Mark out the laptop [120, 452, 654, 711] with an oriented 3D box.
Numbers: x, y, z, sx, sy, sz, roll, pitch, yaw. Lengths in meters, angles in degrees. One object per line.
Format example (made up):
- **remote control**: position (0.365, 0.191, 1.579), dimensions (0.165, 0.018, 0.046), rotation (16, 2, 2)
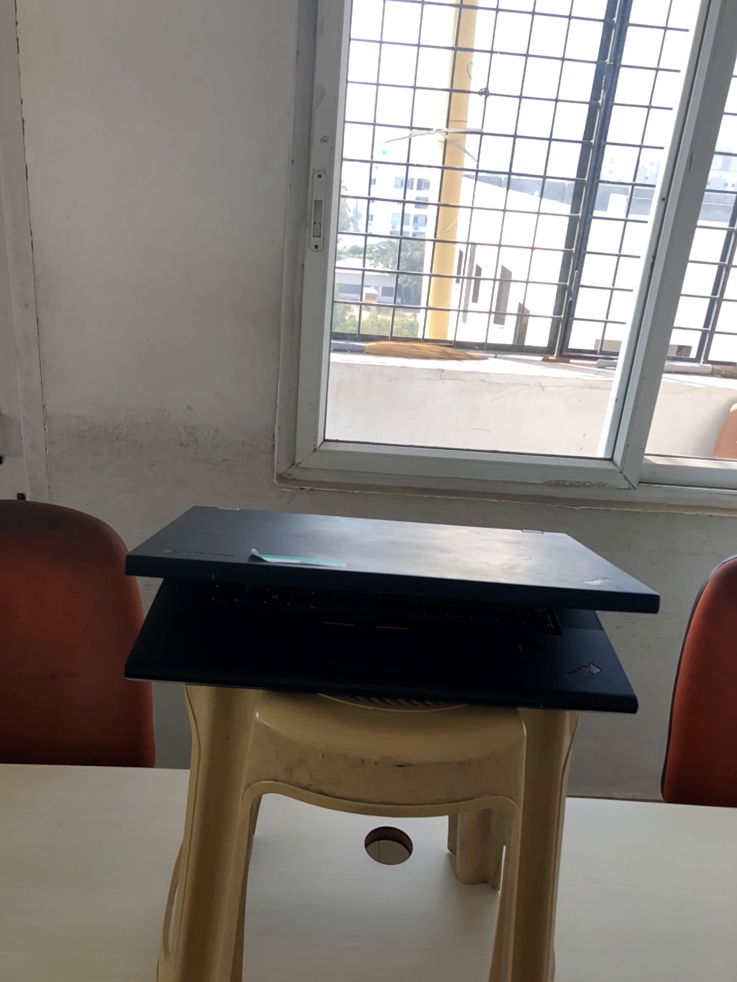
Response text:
- **laptop**: position (0.014, 0.061, 0.665), dimensions (0.362, 0.074, 0.236), rotation (4, 25, -2)
